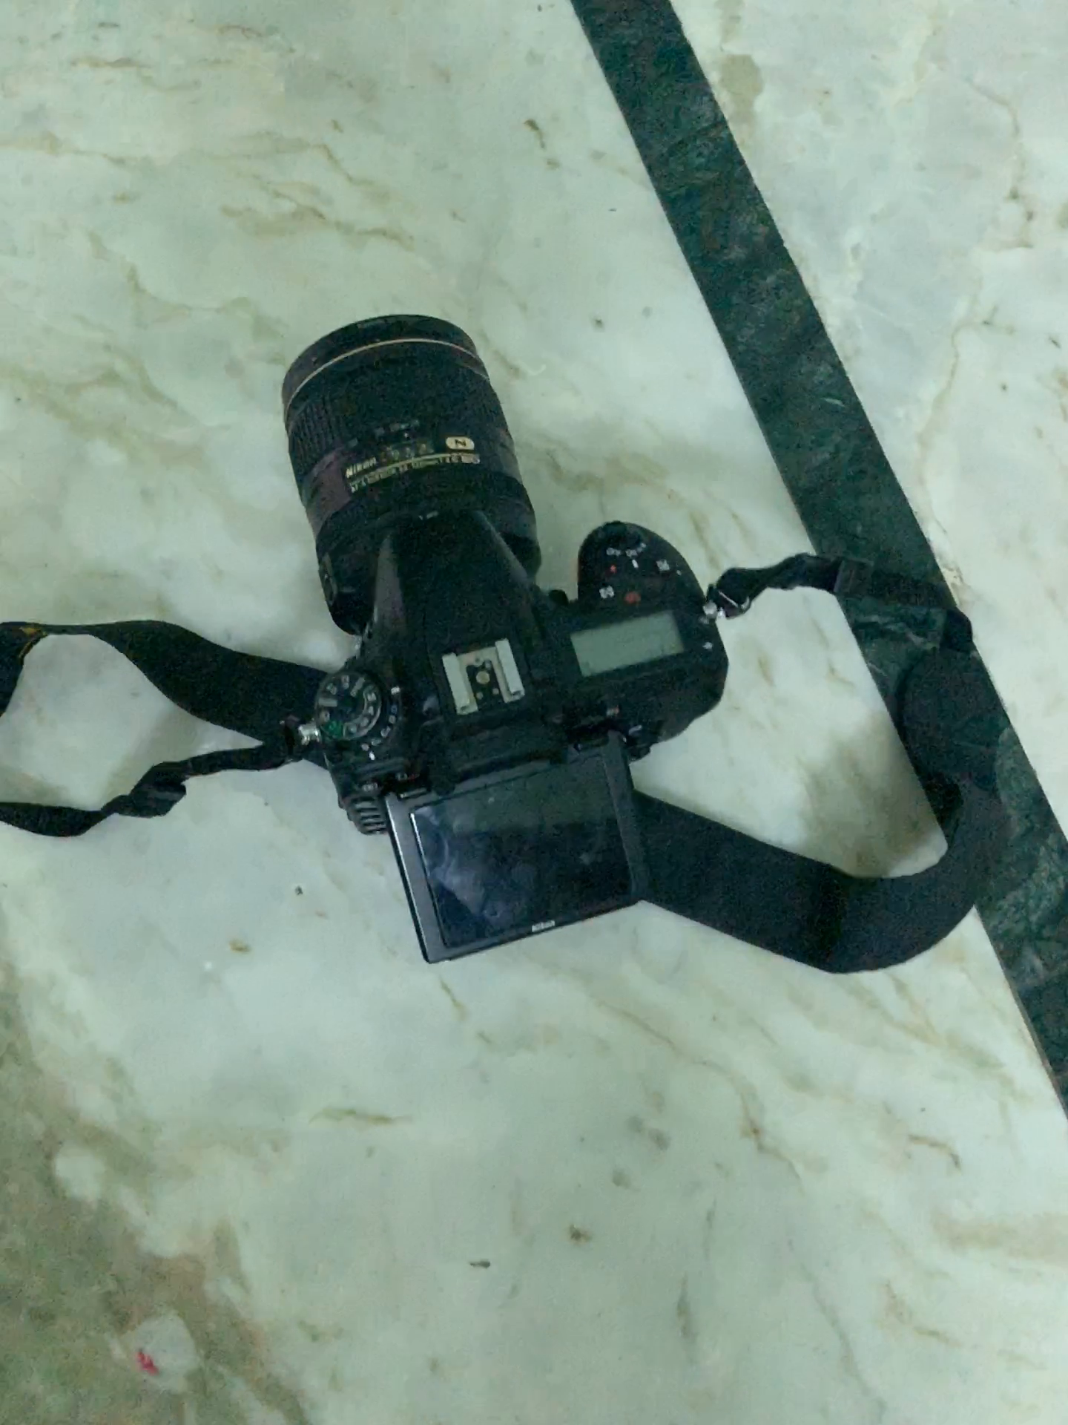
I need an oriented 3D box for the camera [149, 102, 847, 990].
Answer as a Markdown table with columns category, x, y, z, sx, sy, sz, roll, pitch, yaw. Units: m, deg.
| category | x | y | z | sx | sy | sz | roll | pitch | yaw |
| --- | --- | --- | --- | --- | --- | --- | --- | --- | --- |
| camera | -0.021 | -0.055 | 0.378 | 0.146 | 0.100 | 0.258 | -15 | 75 | -6 |
